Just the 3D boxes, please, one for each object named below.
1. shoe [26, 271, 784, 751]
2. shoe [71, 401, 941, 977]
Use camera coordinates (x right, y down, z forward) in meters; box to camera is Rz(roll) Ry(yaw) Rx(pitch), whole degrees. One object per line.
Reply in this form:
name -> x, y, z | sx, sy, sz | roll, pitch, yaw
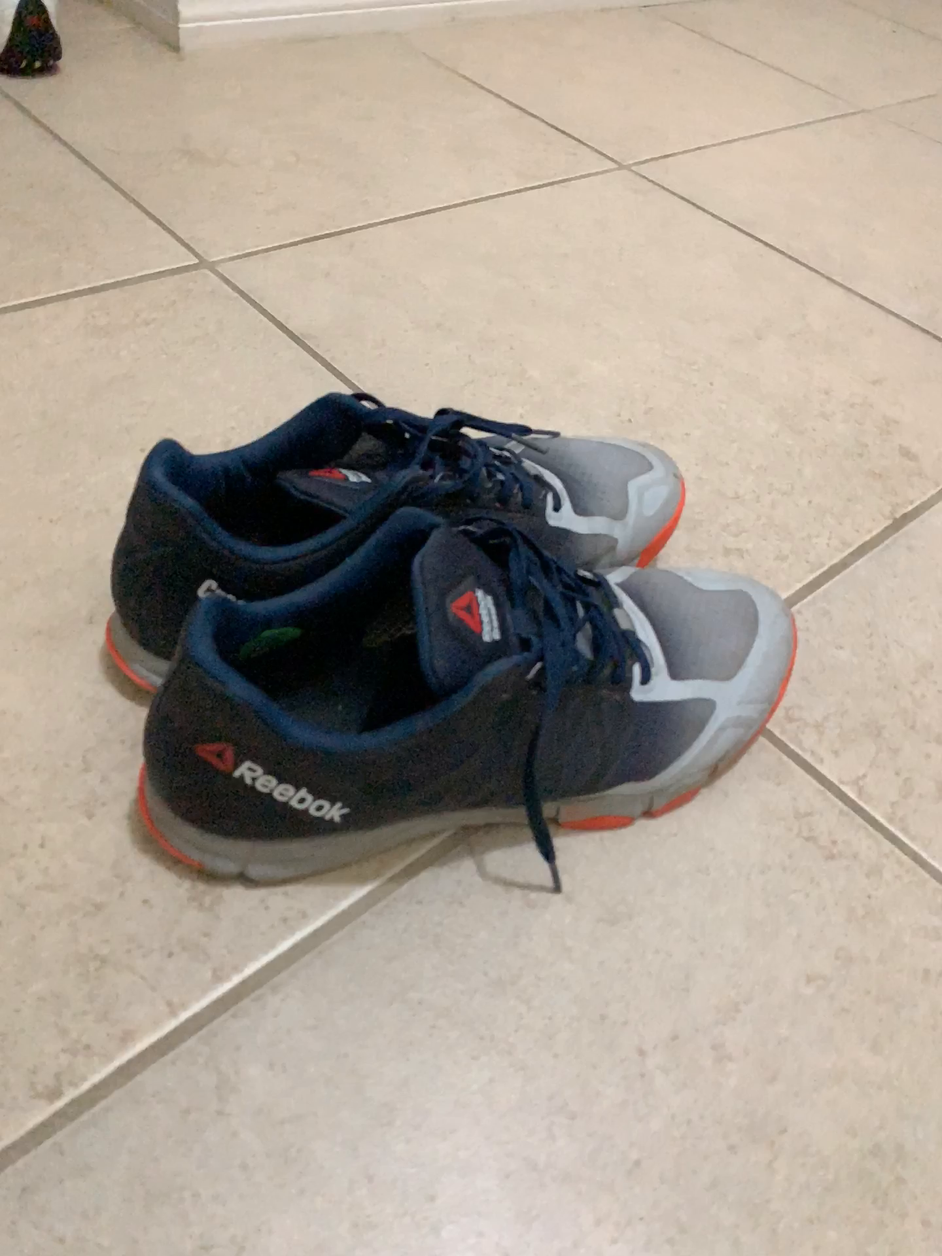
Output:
shoe -> -0.022, -0.067, 0.445 | 0.305, 0.121, 0.105 | -17, 52, -26
shoe -> 0.023, 0.012, 0.385 | 0.315, 0.133, 0.109 | -11, 50, -21
